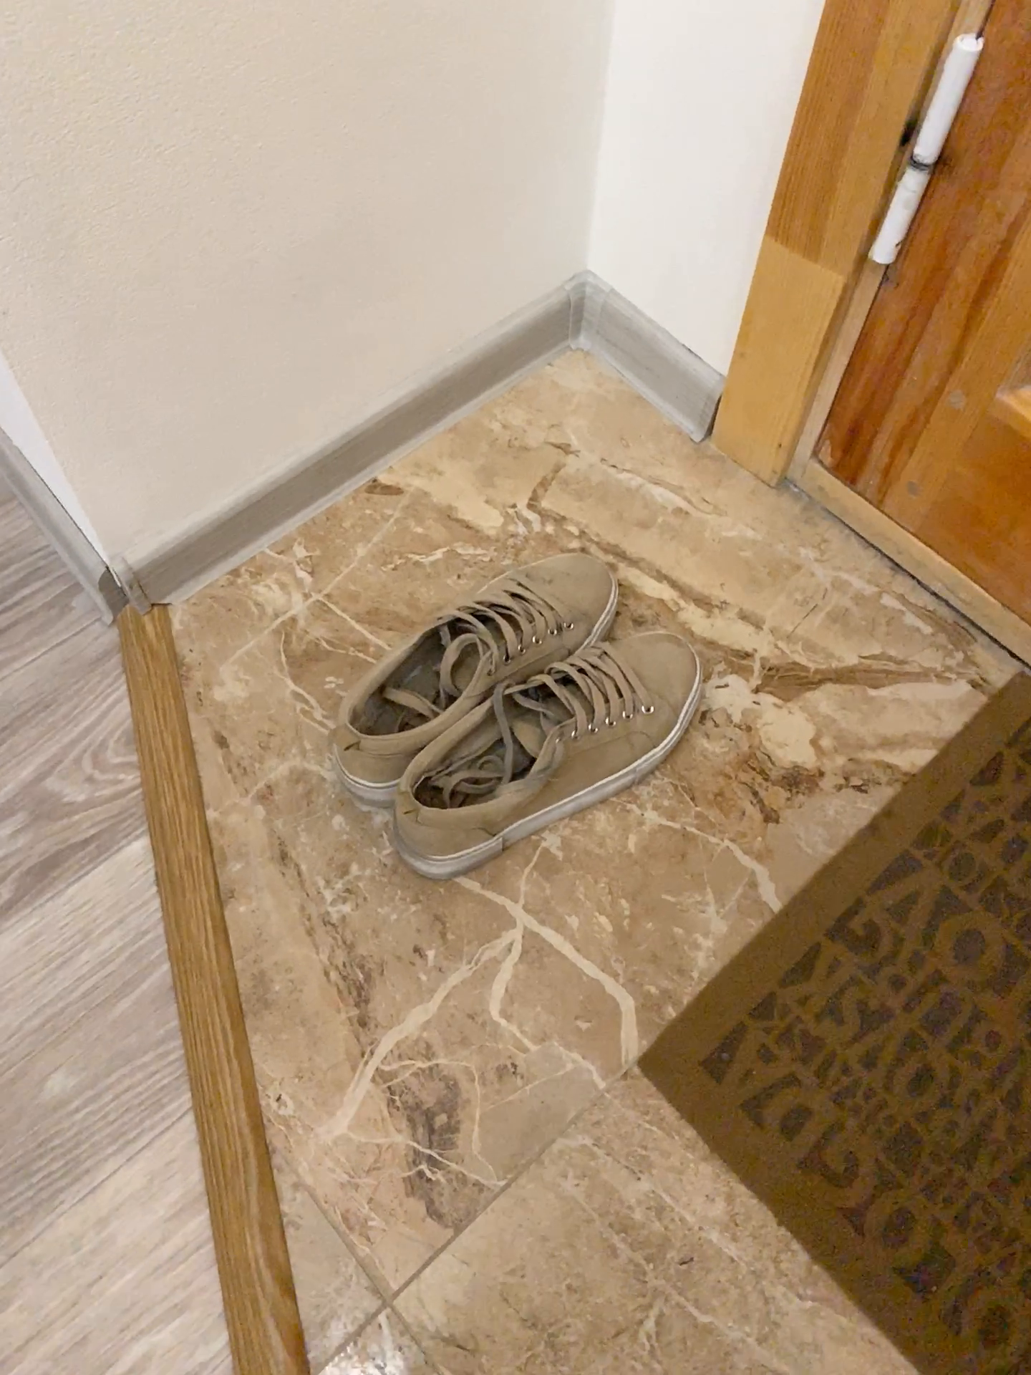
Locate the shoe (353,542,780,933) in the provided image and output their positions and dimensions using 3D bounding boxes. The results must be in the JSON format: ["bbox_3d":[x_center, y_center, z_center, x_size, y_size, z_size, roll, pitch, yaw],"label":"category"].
[{"bbox_3d":[0.032,0.028,0.646,0.240,0.100,0.090,-33,67,-19],"label":"shoe"}]

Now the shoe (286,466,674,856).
[{"bbox_3d":[-0.017,-0.020,0.682,0.090,0.100,0.240,41,67,19],"label":"shoe"}]
